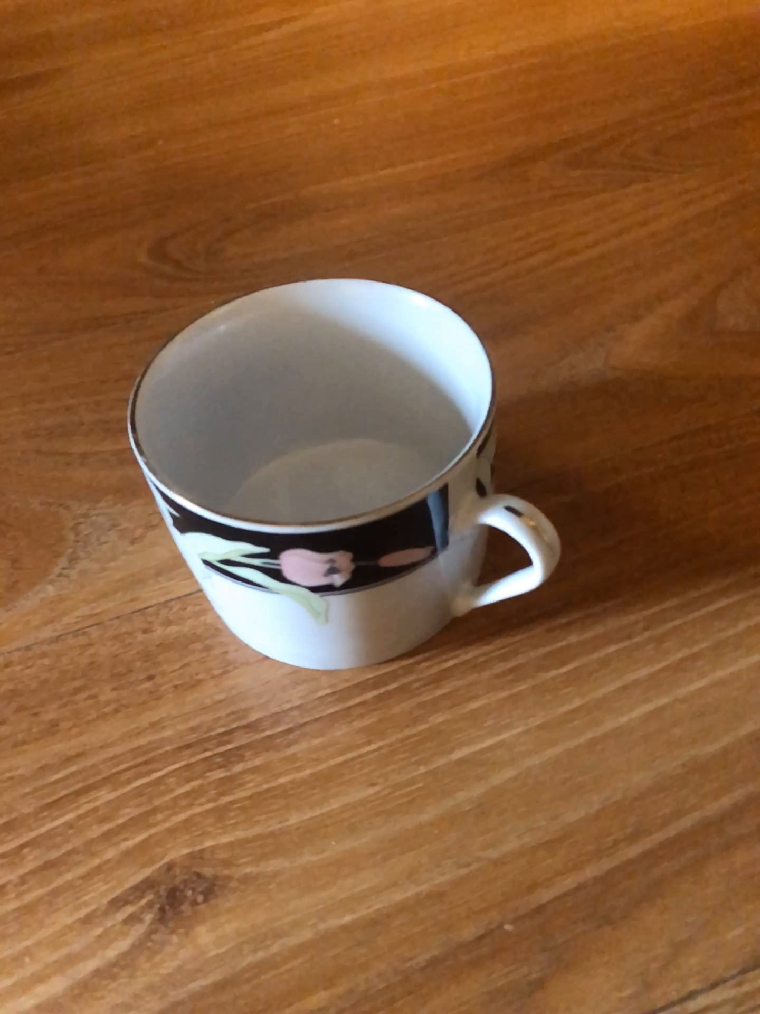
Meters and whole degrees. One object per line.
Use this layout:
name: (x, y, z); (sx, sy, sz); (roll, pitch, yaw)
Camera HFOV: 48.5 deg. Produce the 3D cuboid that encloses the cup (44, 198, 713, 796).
cup: (0.001, -0.011, 0.202); (0.110, 0.060, 0.090); (29, 59, 27)
